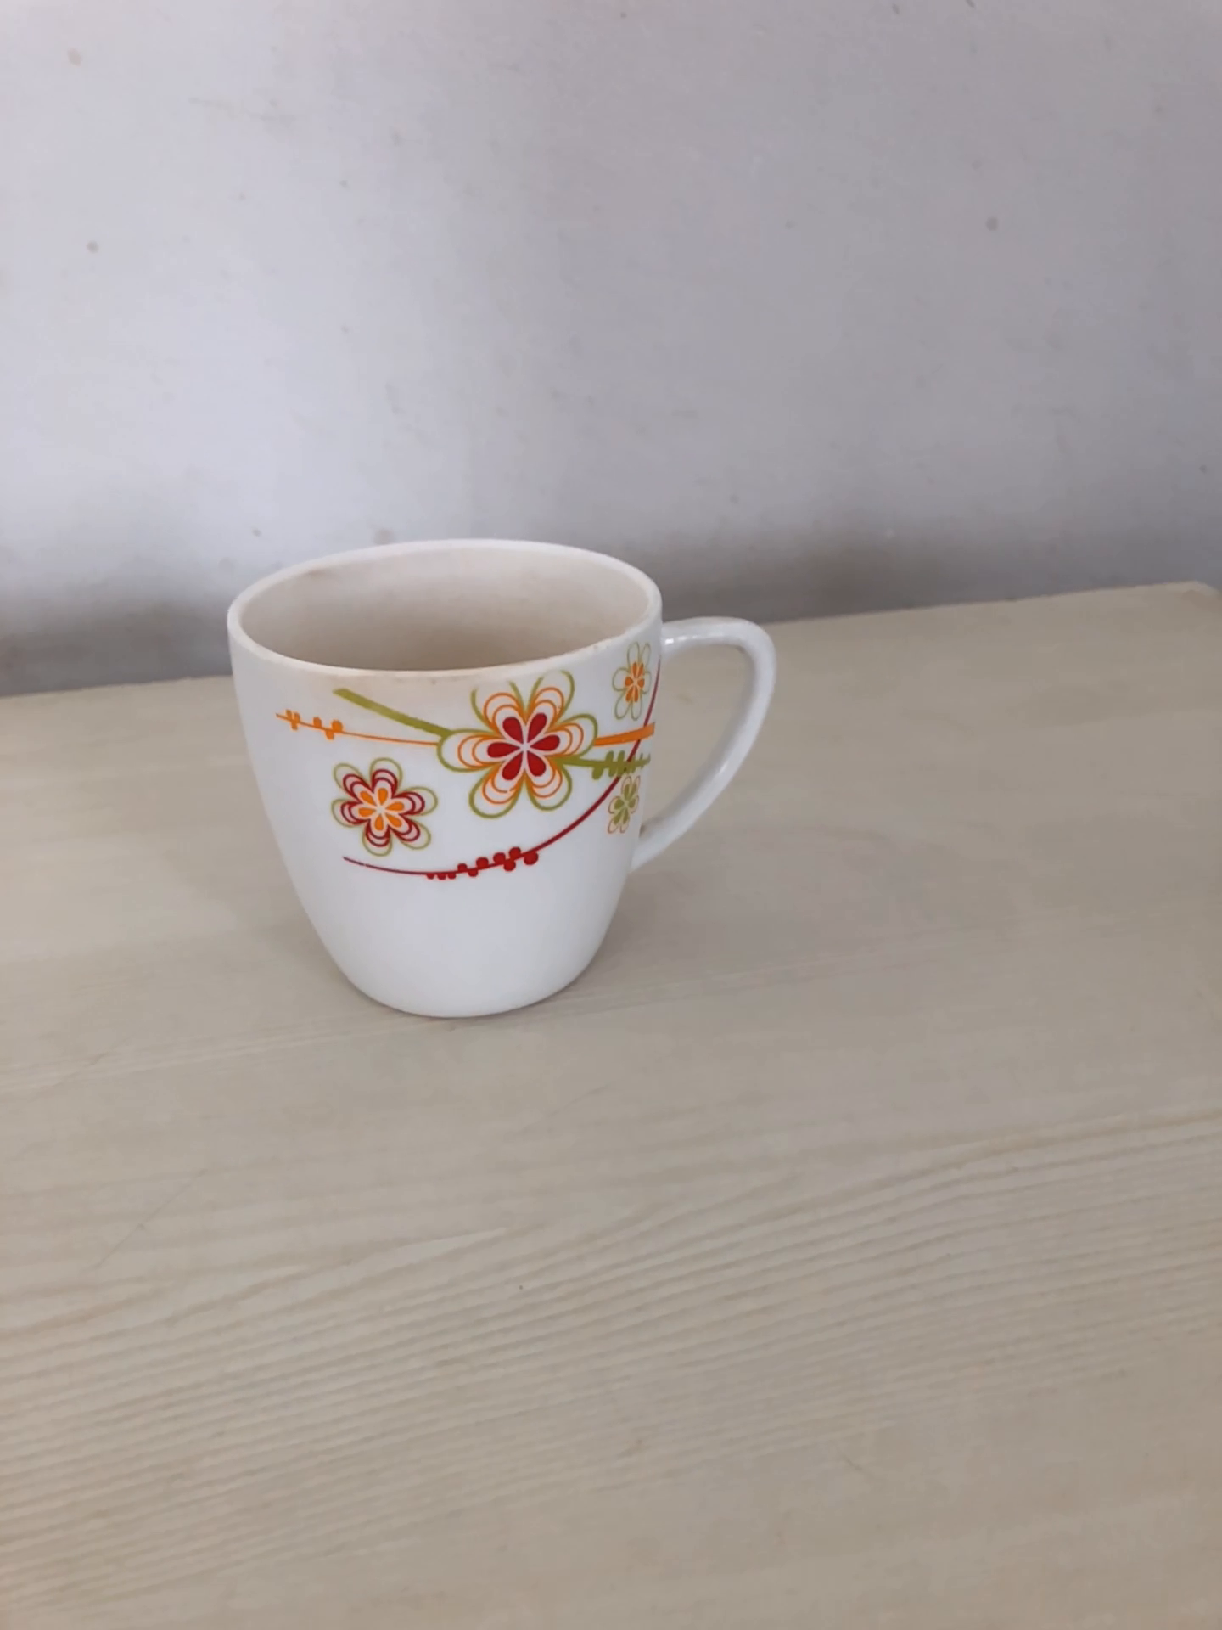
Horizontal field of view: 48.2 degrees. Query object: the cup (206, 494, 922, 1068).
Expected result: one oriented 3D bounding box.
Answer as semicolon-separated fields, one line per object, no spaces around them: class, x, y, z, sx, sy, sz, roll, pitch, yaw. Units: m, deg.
cup;-0.012;-0.013;0.256;0.110;0.070;0.070;-9;27;-18
